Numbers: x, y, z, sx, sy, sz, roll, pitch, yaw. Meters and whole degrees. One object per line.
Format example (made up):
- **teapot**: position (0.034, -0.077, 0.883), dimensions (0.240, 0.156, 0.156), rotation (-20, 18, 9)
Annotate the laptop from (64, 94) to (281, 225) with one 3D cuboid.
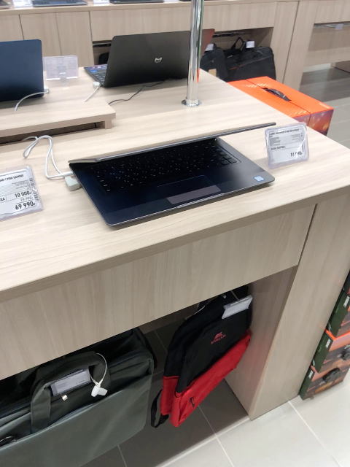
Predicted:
- **laptop**: position (-0.007, -0.163, 0.752), dimensions (0.345, 0.099, 0.222), rotation (-17, 43, -24)
